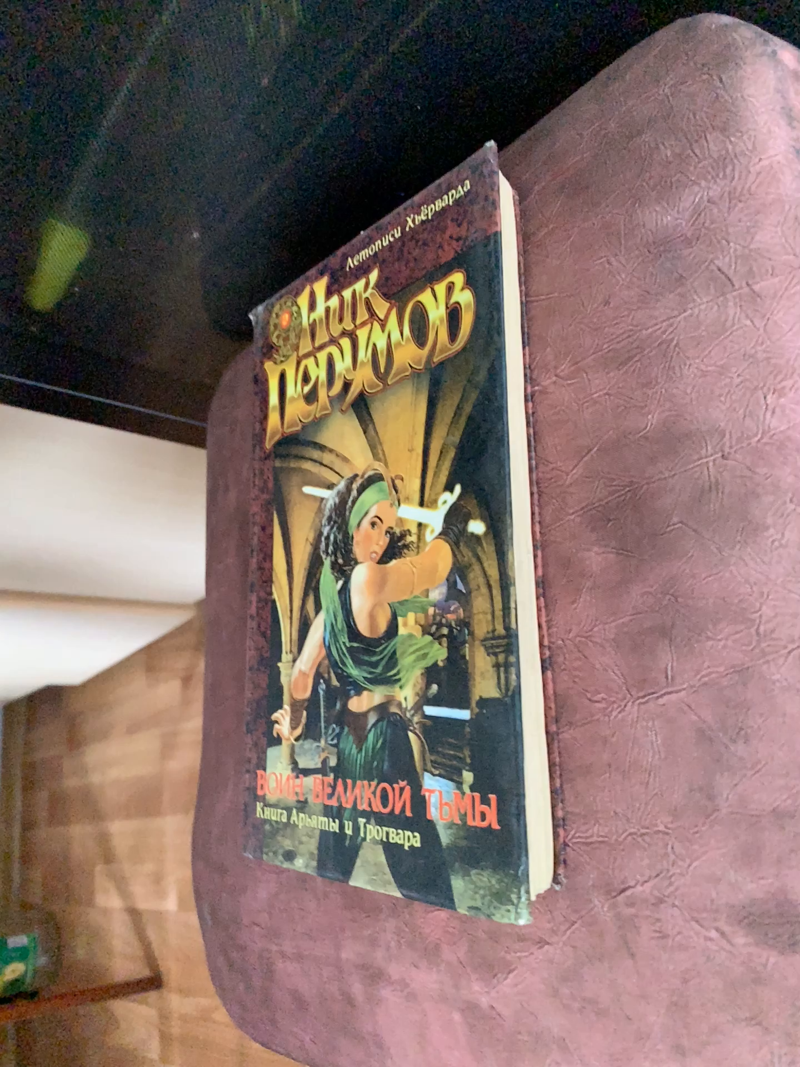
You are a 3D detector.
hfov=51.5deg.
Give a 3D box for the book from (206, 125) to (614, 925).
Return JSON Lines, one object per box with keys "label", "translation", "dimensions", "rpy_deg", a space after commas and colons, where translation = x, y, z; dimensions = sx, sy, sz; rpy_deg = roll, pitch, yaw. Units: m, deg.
{"label": "book", "translation": [-0.008, 0.001, 0.270], "dimensions": [0.140, 0.037, 0.205], "rpy_deg": [-15, 71, 47]}
